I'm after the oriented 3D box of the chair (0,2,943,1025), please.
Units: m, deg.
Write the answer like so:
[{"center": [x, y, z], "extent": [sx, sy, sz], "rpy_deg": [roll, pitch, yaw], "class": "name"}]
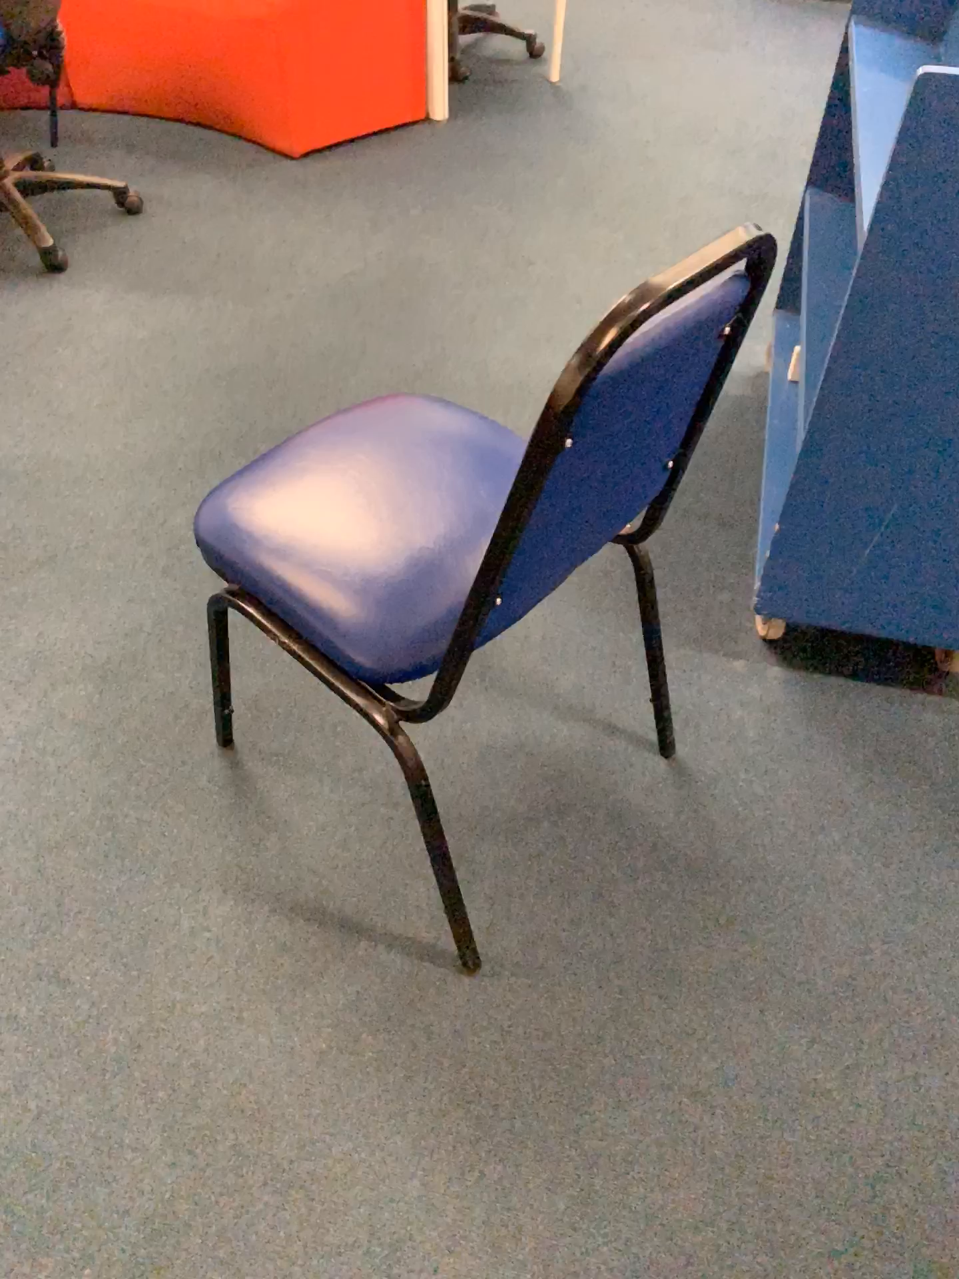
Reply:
[{"center": [-0.012, -0.124, 1.155], "extent": [0.583, 0.882, 0.563], "rpy_deg": [35, 56, 28], "class": "chair"}]
